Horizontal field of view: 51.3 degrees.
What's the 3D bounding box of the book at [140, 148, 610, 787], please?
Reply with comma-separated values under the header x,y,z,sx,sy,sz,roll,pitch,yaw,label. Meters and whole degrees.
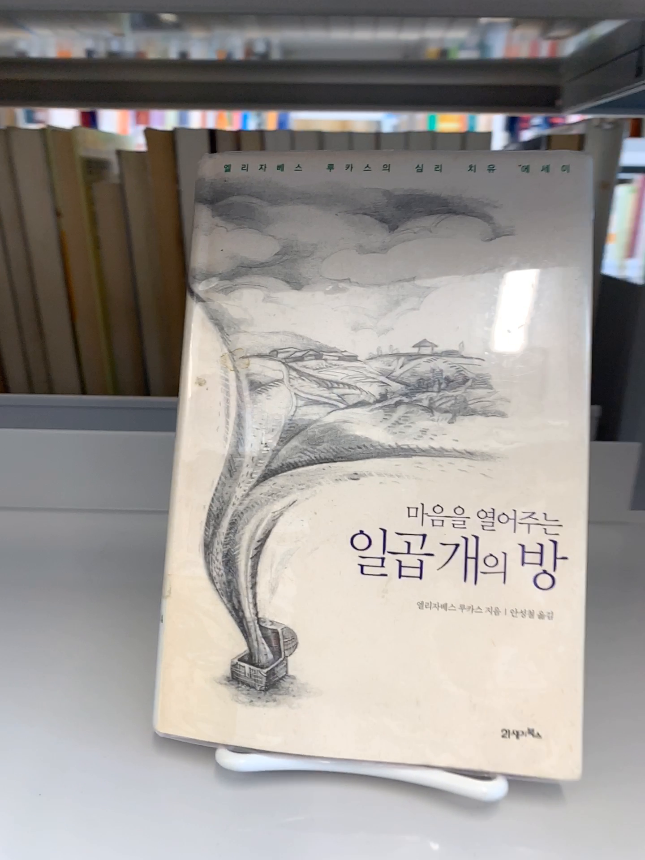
x,y,z,sx,sy,sz,roll,pitch,yaw,label
0.016,0.006,0.221,0.137,0.193,0.019,3,-3,7,book
